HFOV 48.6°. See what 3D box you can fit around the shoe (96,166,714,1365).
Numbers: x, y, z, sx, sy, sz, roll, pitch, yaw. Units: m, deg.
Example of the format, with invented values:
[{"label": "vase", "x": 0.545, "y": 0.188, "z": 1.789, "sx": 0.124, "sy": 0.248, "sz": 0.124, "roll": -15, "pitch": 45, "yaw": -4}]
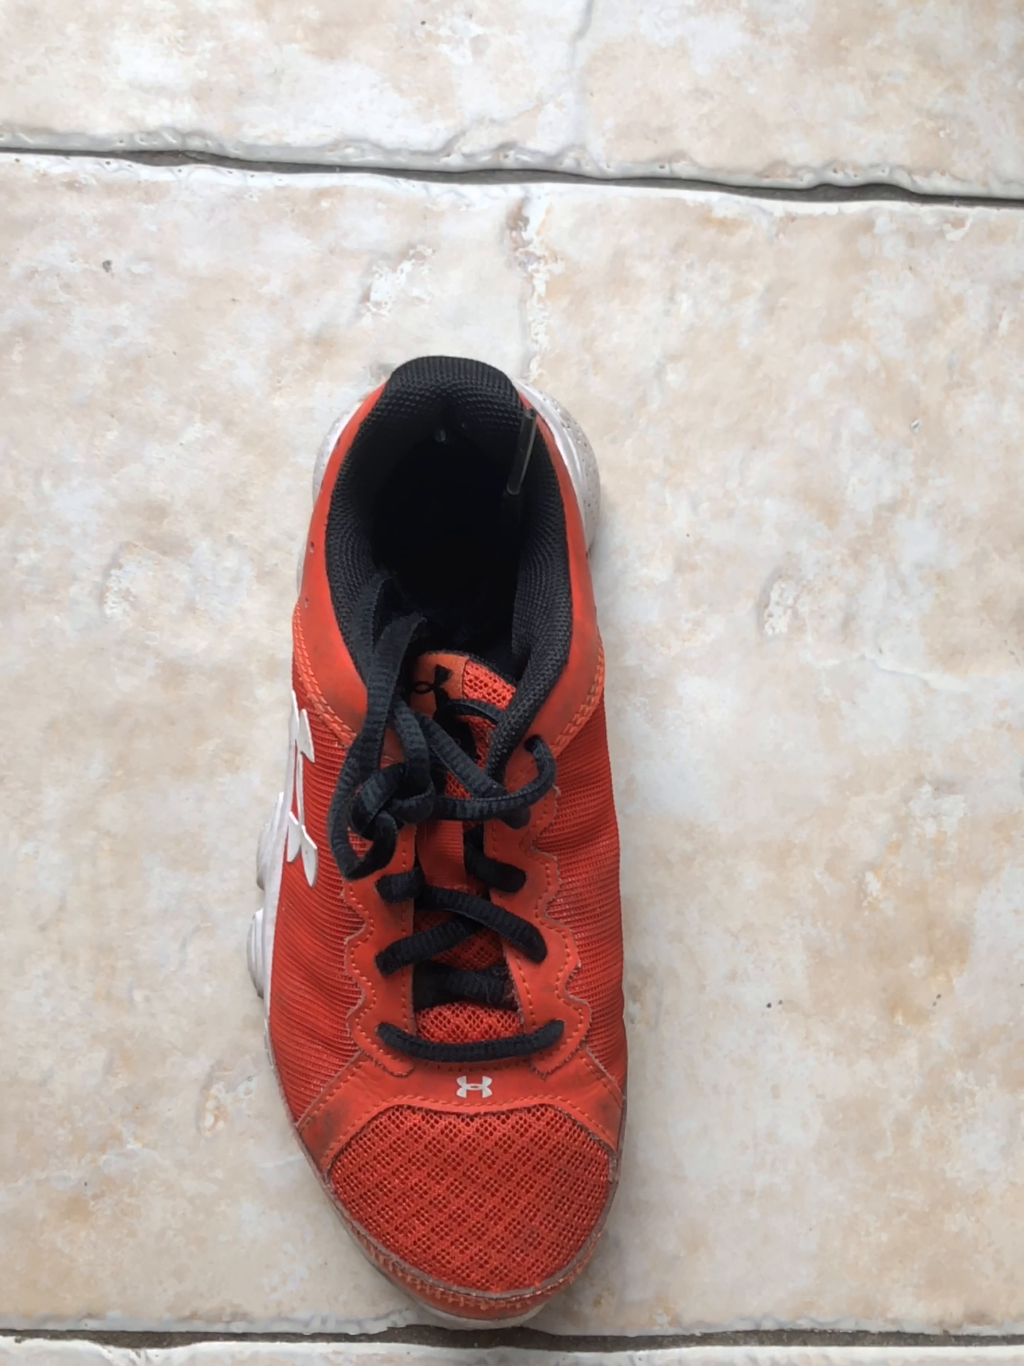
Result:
[{"label": "shoe", "x": -0.018, "y": 0.031, "z": 0.244, "sx": 0.100, "sy": 0.100, "sz": 0.240, "roll": 0, "pitch": 85, "yaw": -1}]
